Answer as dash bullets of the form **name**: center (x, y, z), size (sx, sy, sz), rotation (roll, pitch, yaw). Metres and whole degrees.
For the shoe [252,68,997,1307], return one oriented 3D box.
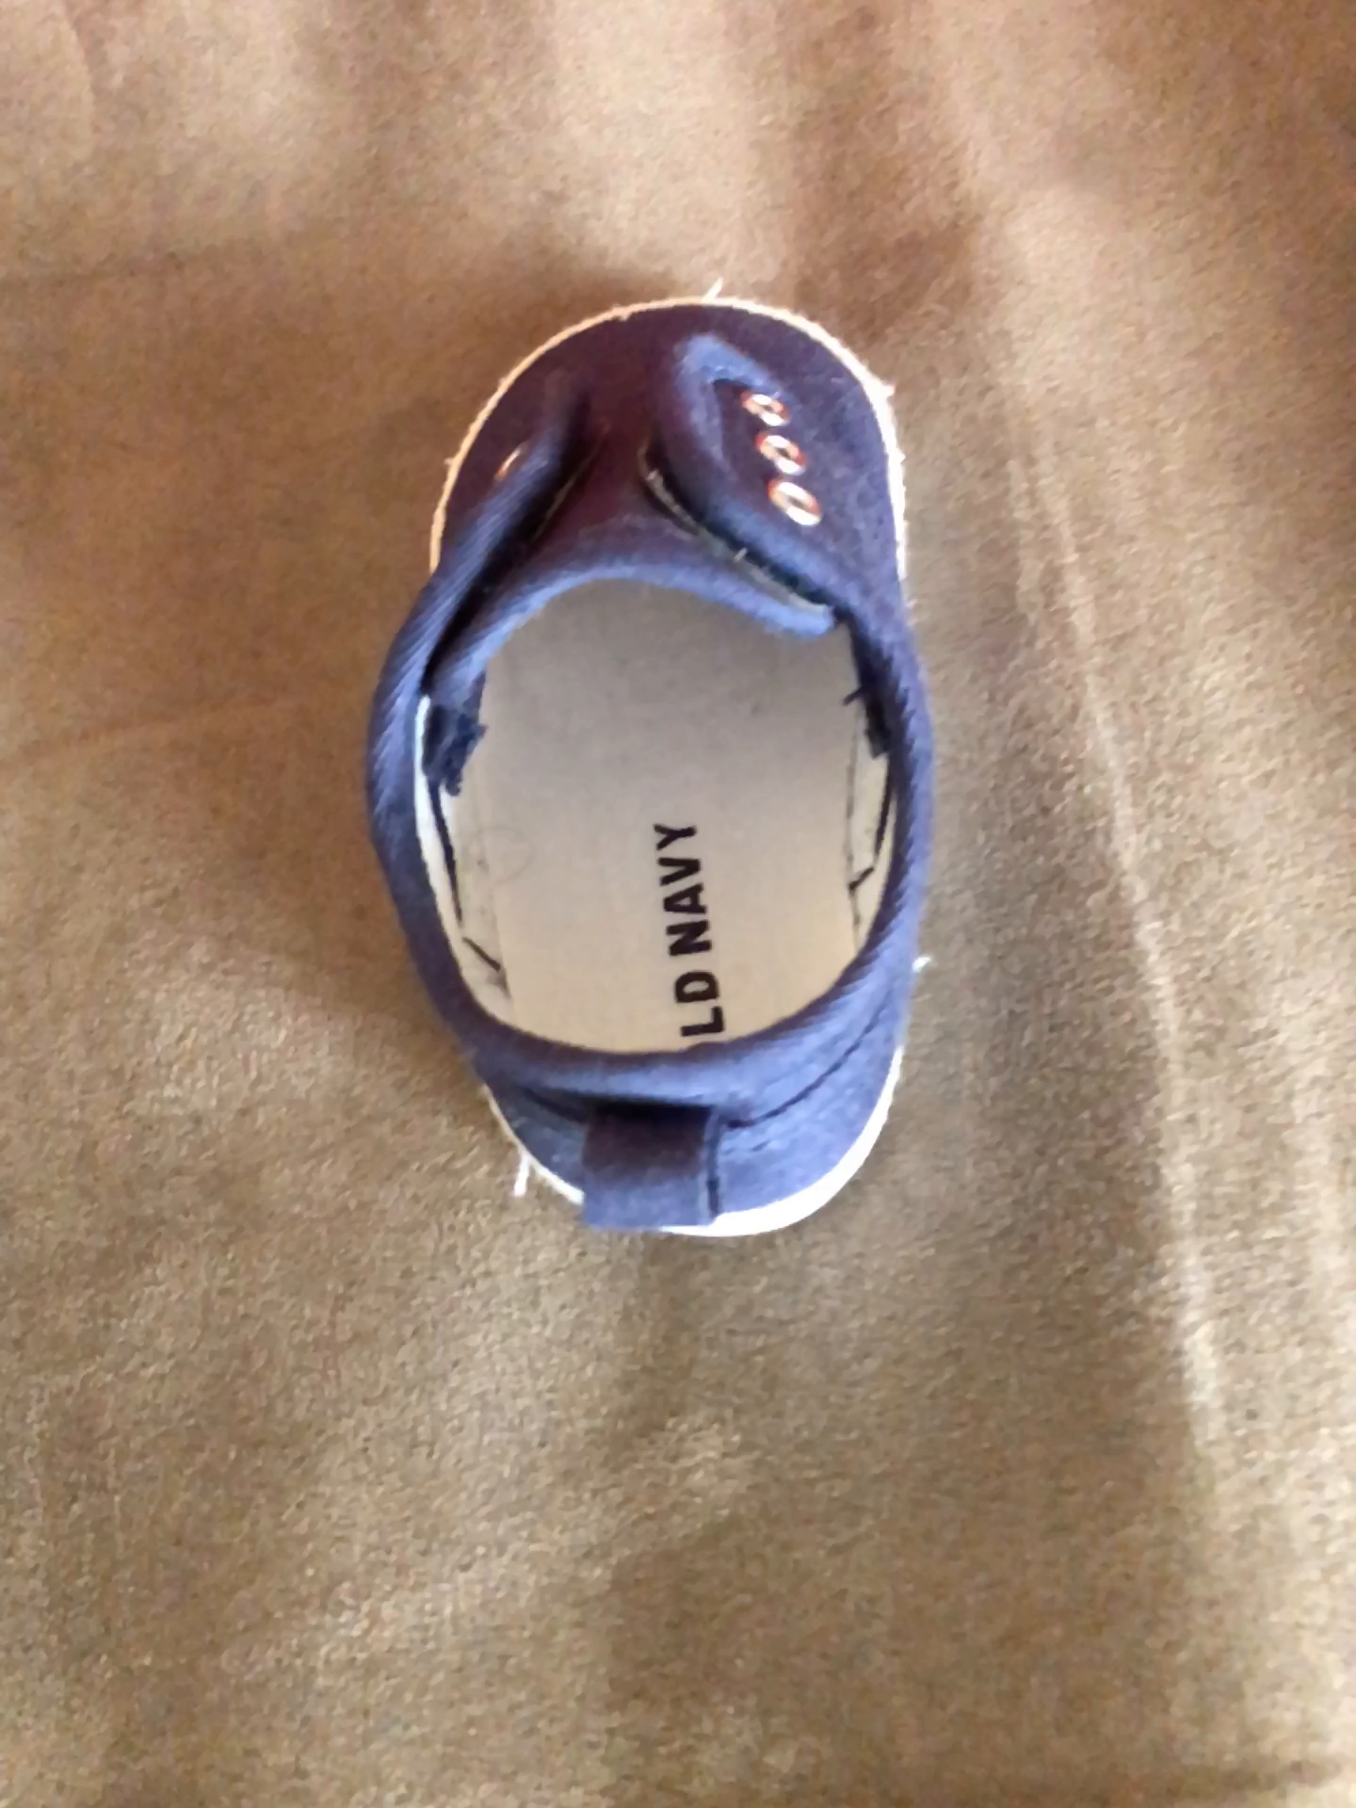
- **shoe**: center (-0.004, -0.016, 0.166), size (0.060, 0.060, 0.110), rotation (-8, 75, 11)
